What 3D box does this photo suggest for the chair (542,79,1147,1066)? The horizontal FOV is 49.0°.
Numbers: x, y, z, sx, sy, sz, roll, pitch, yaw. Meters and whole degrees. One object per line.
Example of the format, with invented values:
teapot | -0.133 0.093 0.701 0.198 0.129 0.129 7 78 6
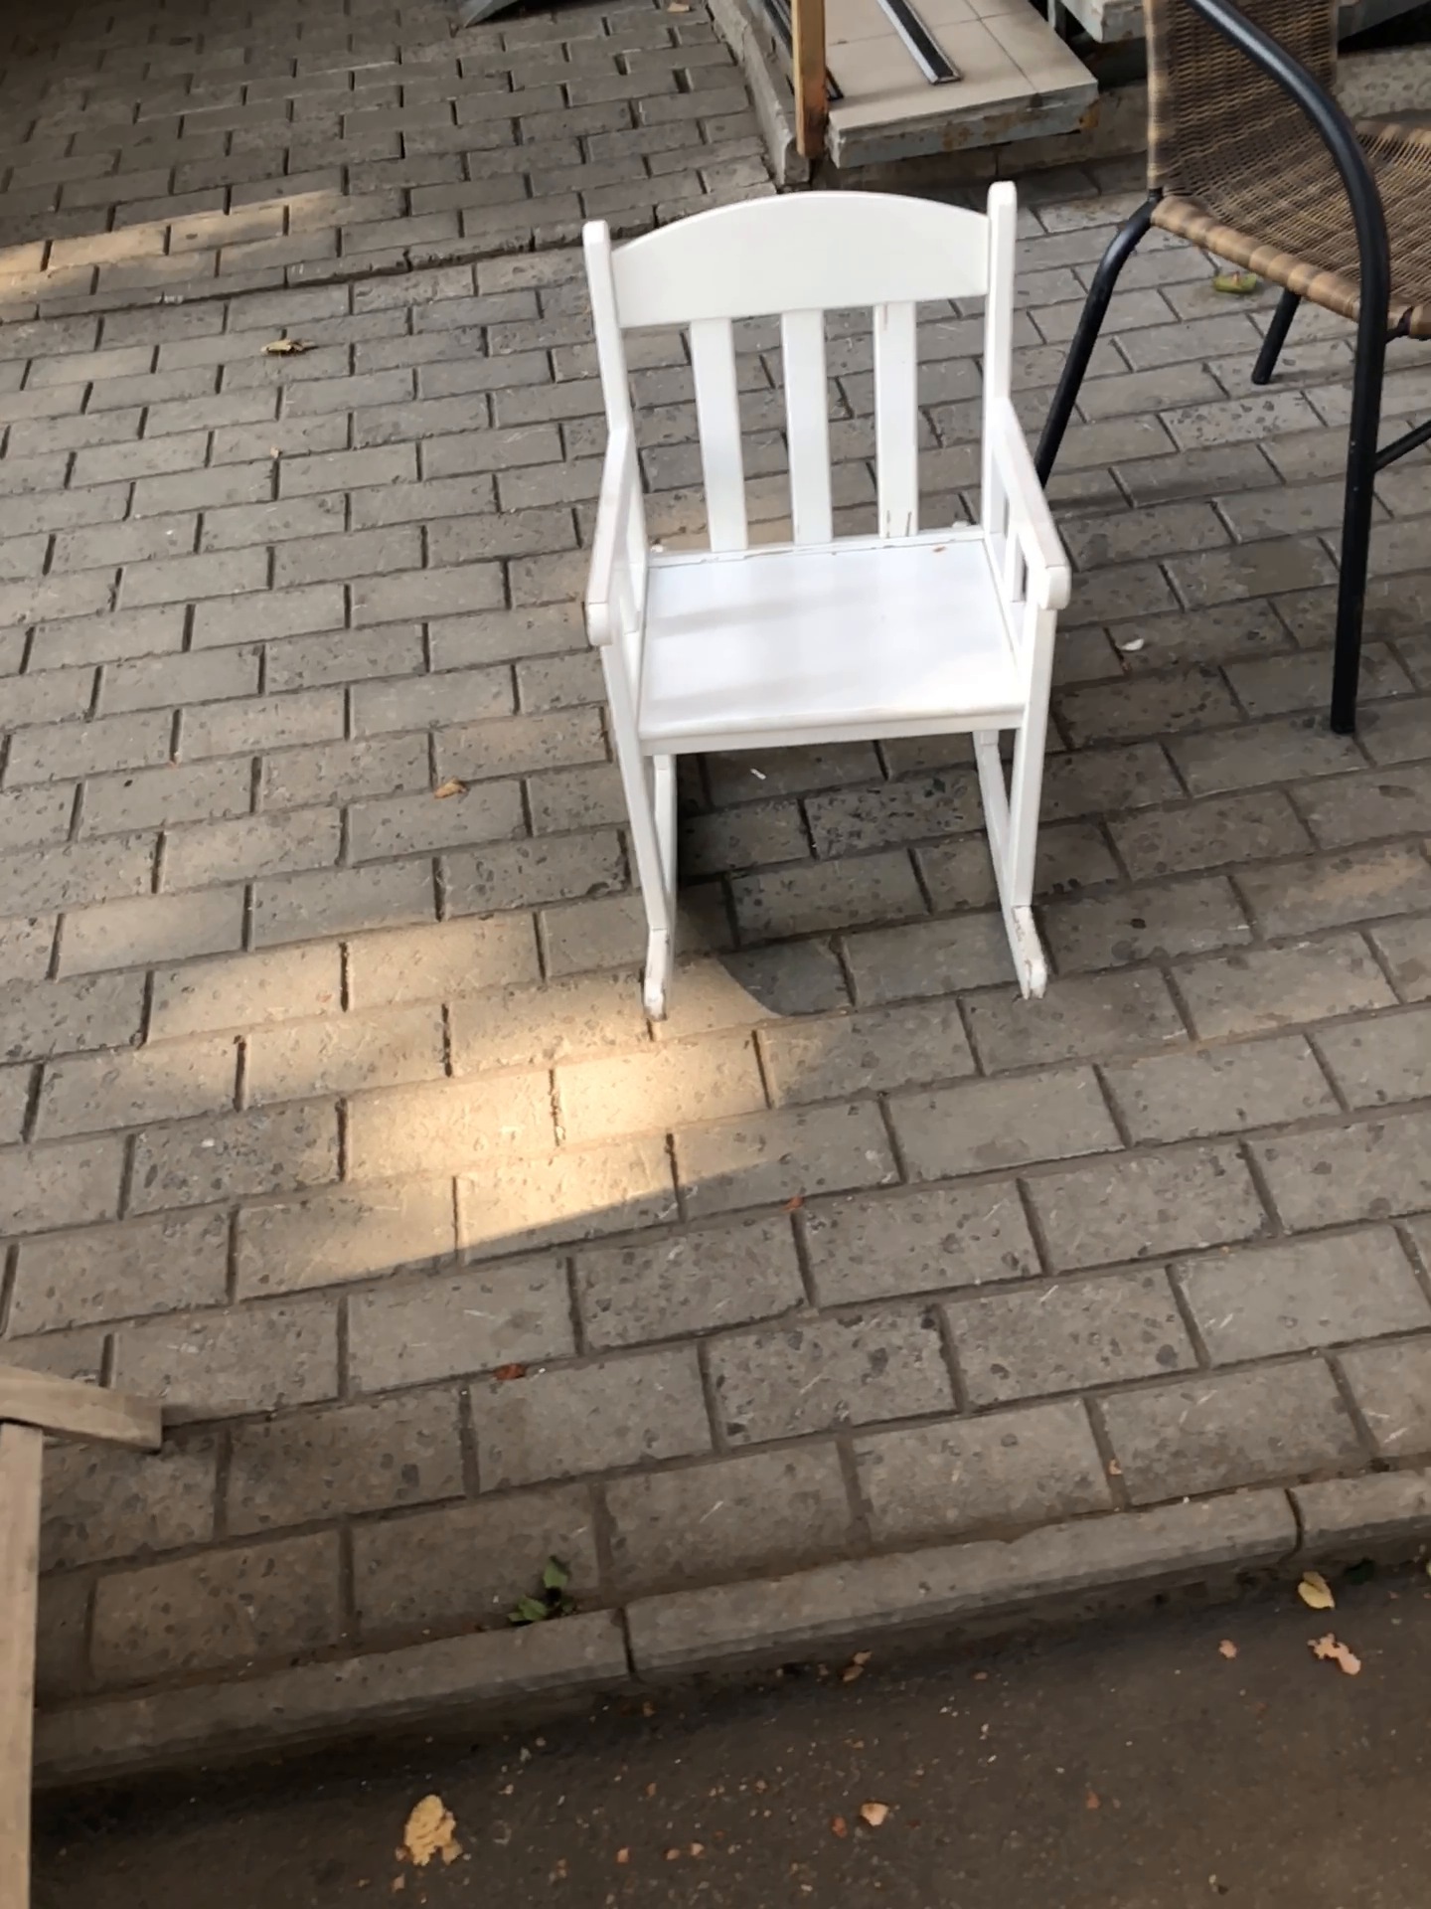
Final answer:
chair | 0.100 -0.358 1.423 0.380 0.518 0.733 -3 48 4
